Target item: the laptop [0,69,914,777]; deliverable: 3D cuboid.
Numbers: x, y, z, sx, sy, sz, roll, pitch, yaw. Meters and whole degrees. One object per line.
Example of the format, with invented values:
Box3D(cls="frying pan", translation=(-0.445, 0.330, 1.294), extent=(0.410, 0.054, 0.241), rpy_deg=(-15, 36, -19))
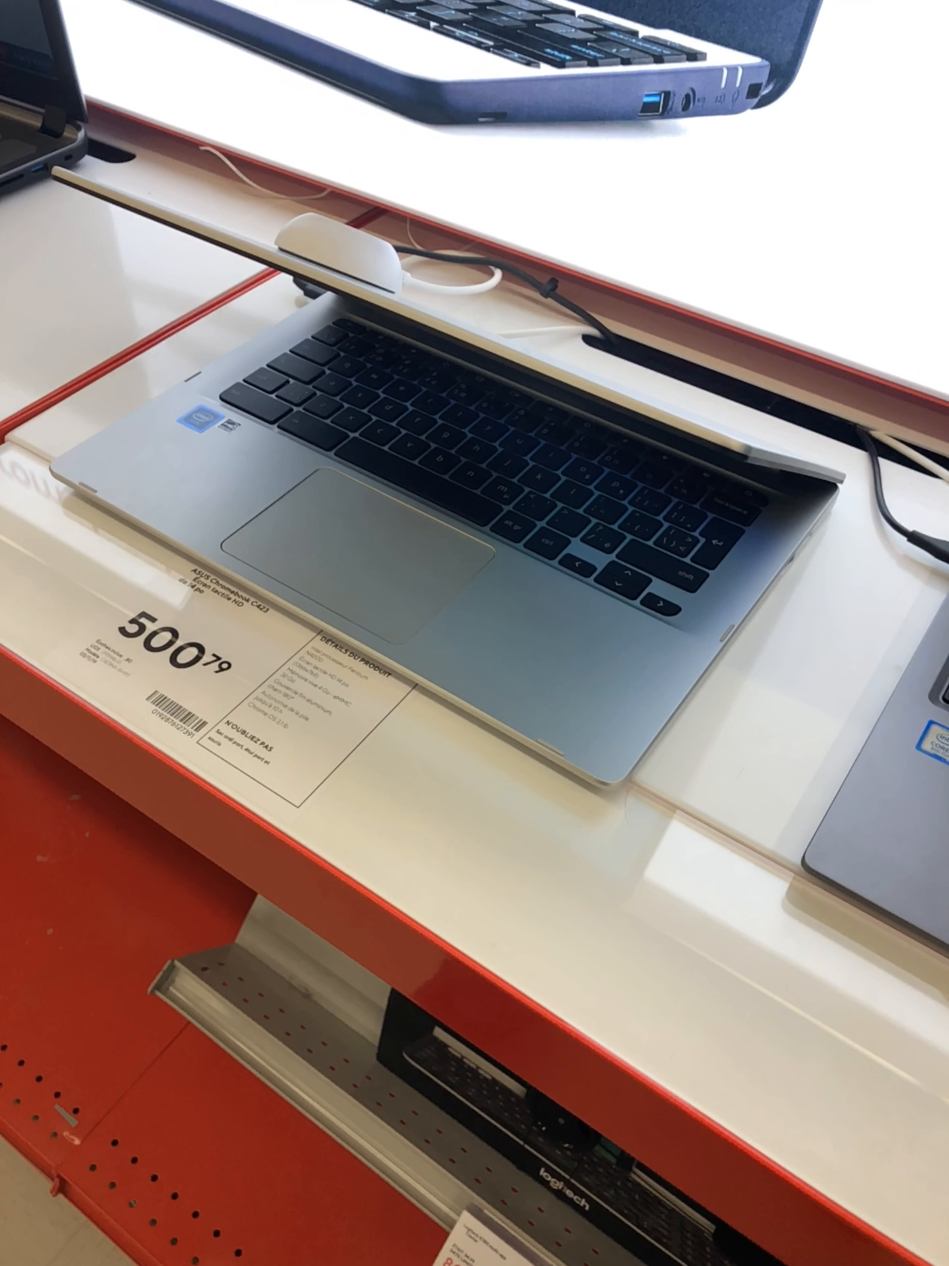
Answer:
Box3D(cls="laptop", translation=(-0.013, -0.118, 0.466), extent=(0.312, 0.119, 0.213), rpy_deg=(28, 52, 22))
